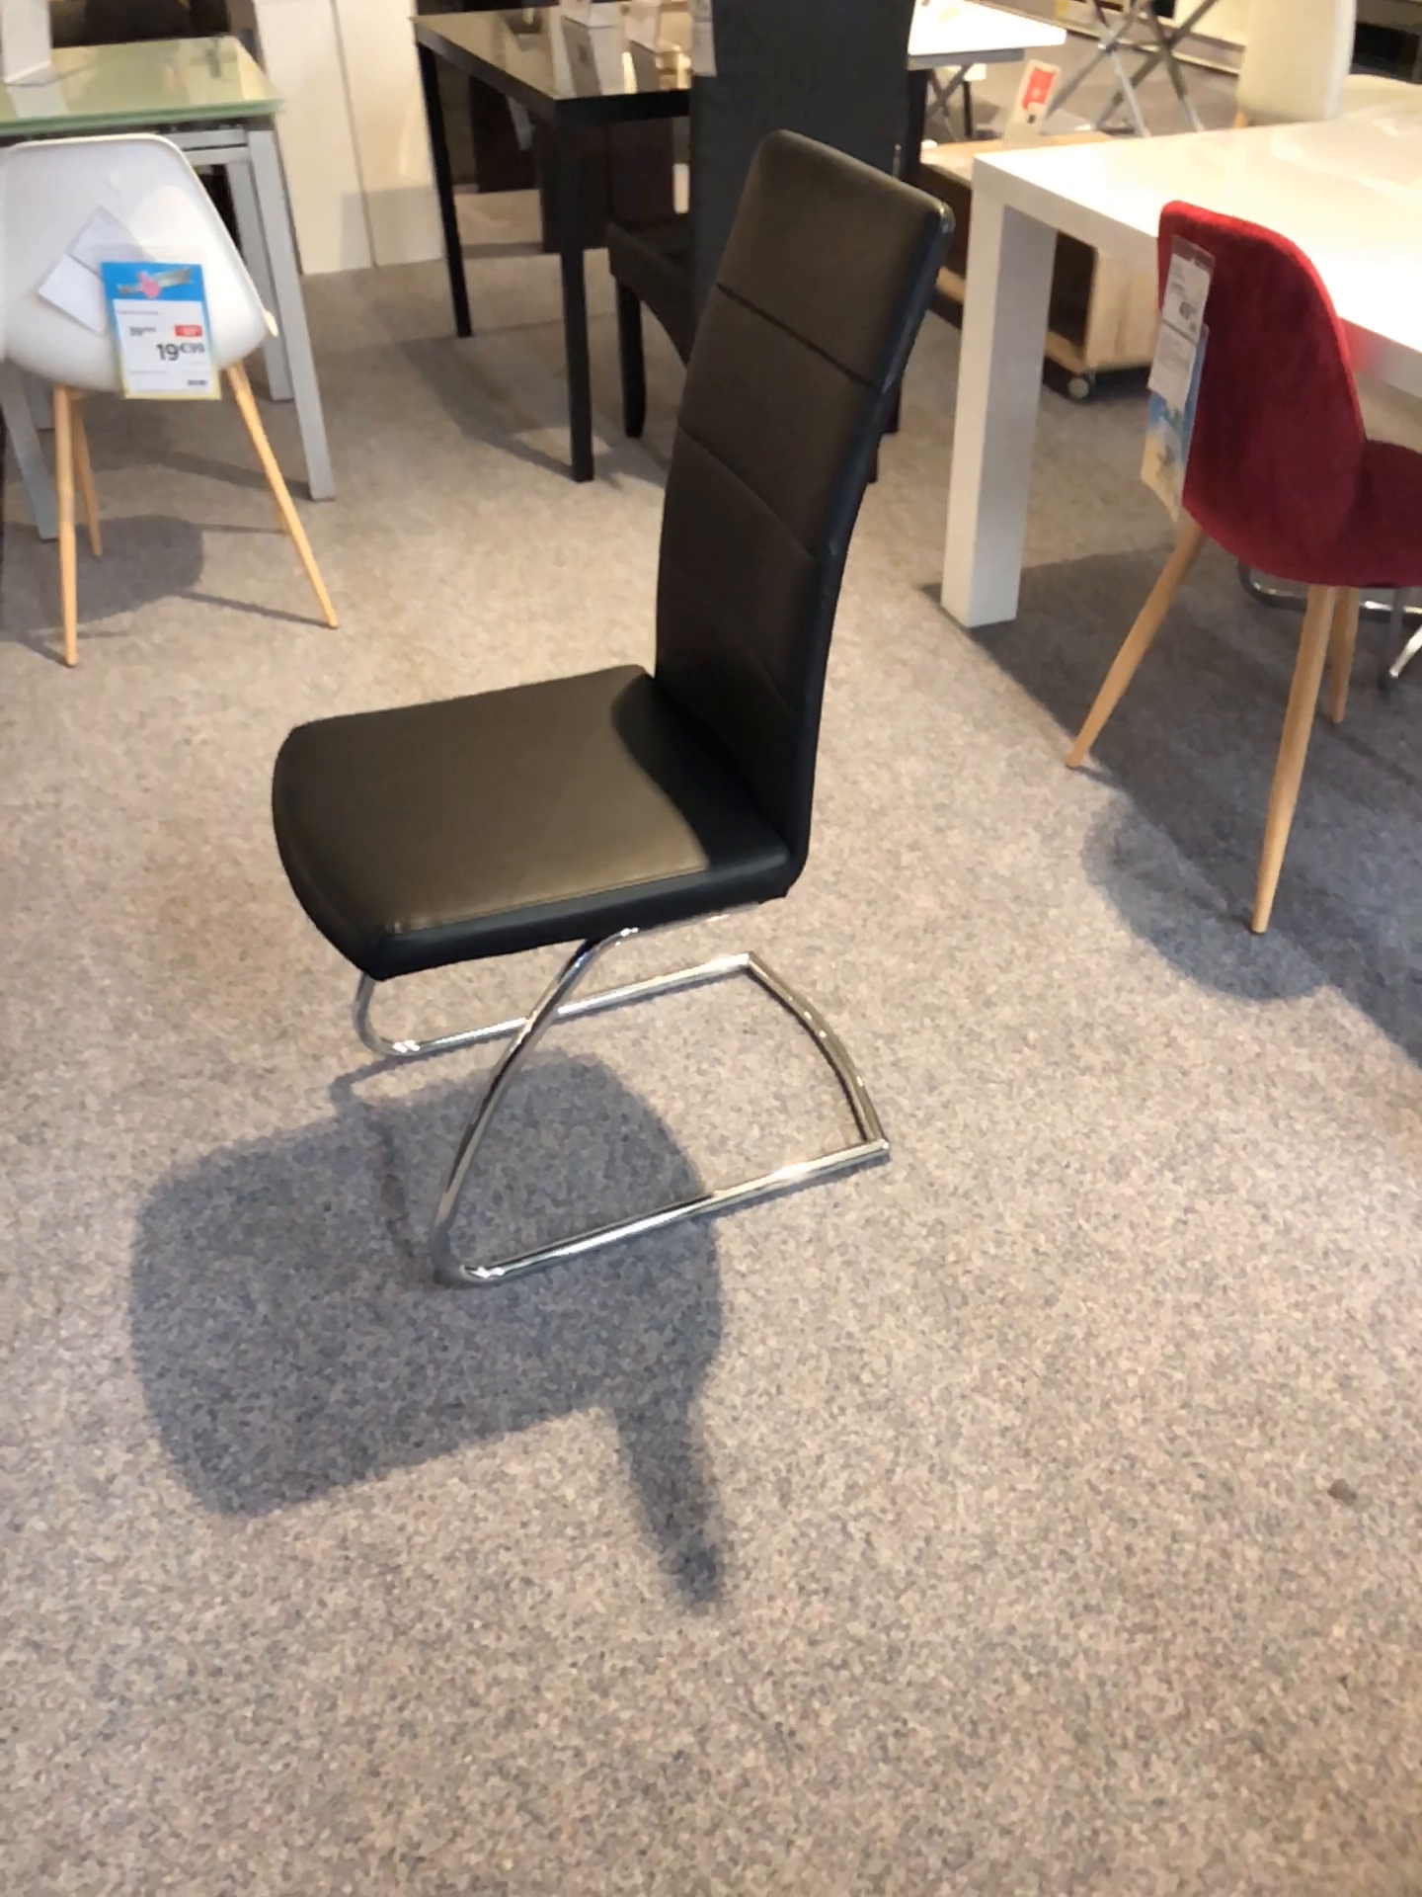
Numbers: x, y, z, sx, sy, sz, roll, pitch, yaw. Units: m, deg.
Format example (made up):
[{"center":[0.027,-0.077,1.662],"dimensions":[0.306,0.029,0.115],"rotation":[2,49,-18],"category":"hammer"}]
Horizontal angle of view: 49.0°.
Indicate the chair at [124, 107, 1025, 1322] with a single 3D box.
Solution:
[{"center":[-0.124,-0.215,1.453],"dimensions":[0.561,0.905,0.492],"rotation":[-14,39,-16],"category":"chair"}]
